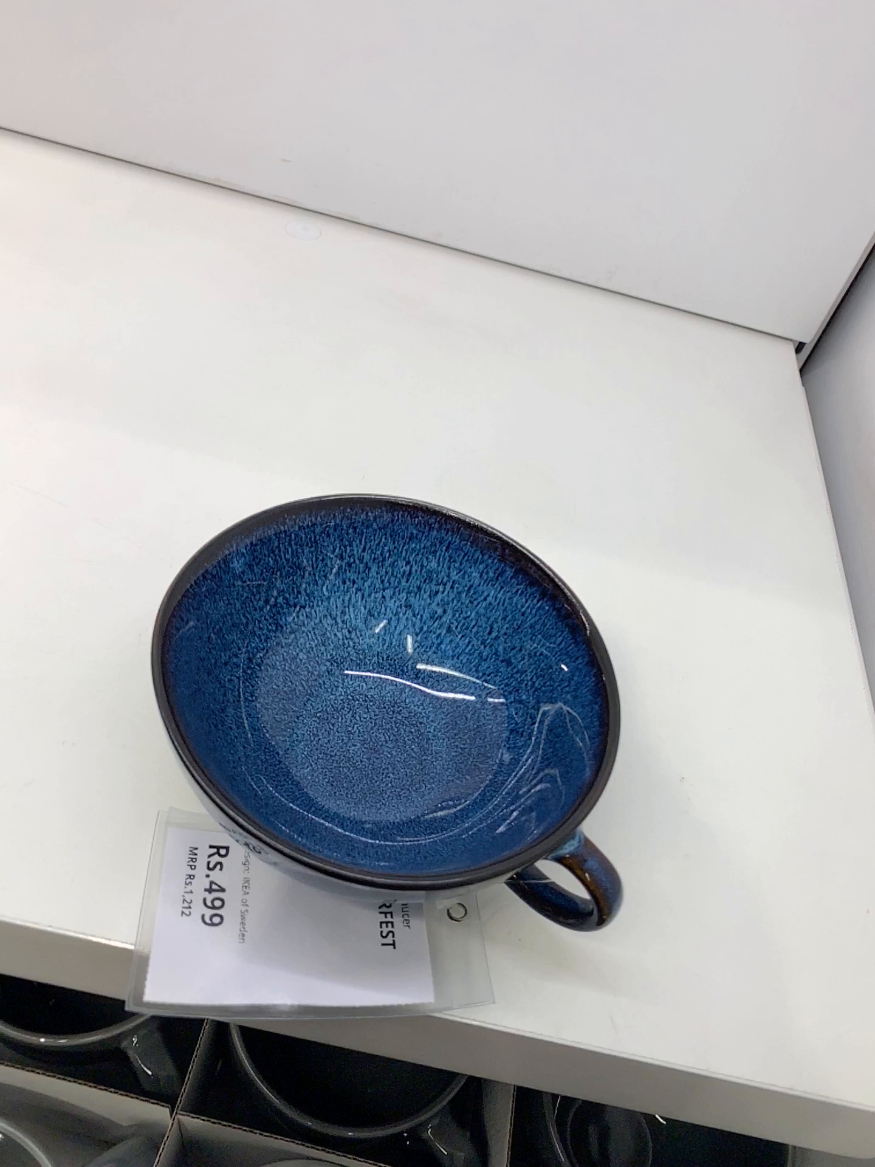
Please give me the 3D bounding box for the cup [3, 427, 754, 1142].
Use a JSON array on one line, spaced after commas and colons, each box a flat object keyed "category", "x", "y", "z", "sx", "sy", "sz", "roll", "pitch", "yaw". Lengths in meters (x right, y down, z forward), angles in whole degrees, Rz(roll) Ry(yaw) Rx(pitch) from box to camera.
[{"category": "cup", "x": -0.014, "y": 0.040, "z": 0.262, "sx": 0.160, "sy": 0.050, "sz": 0.130, "roll": 36, "pitch": 49, "yaw": 18}]
